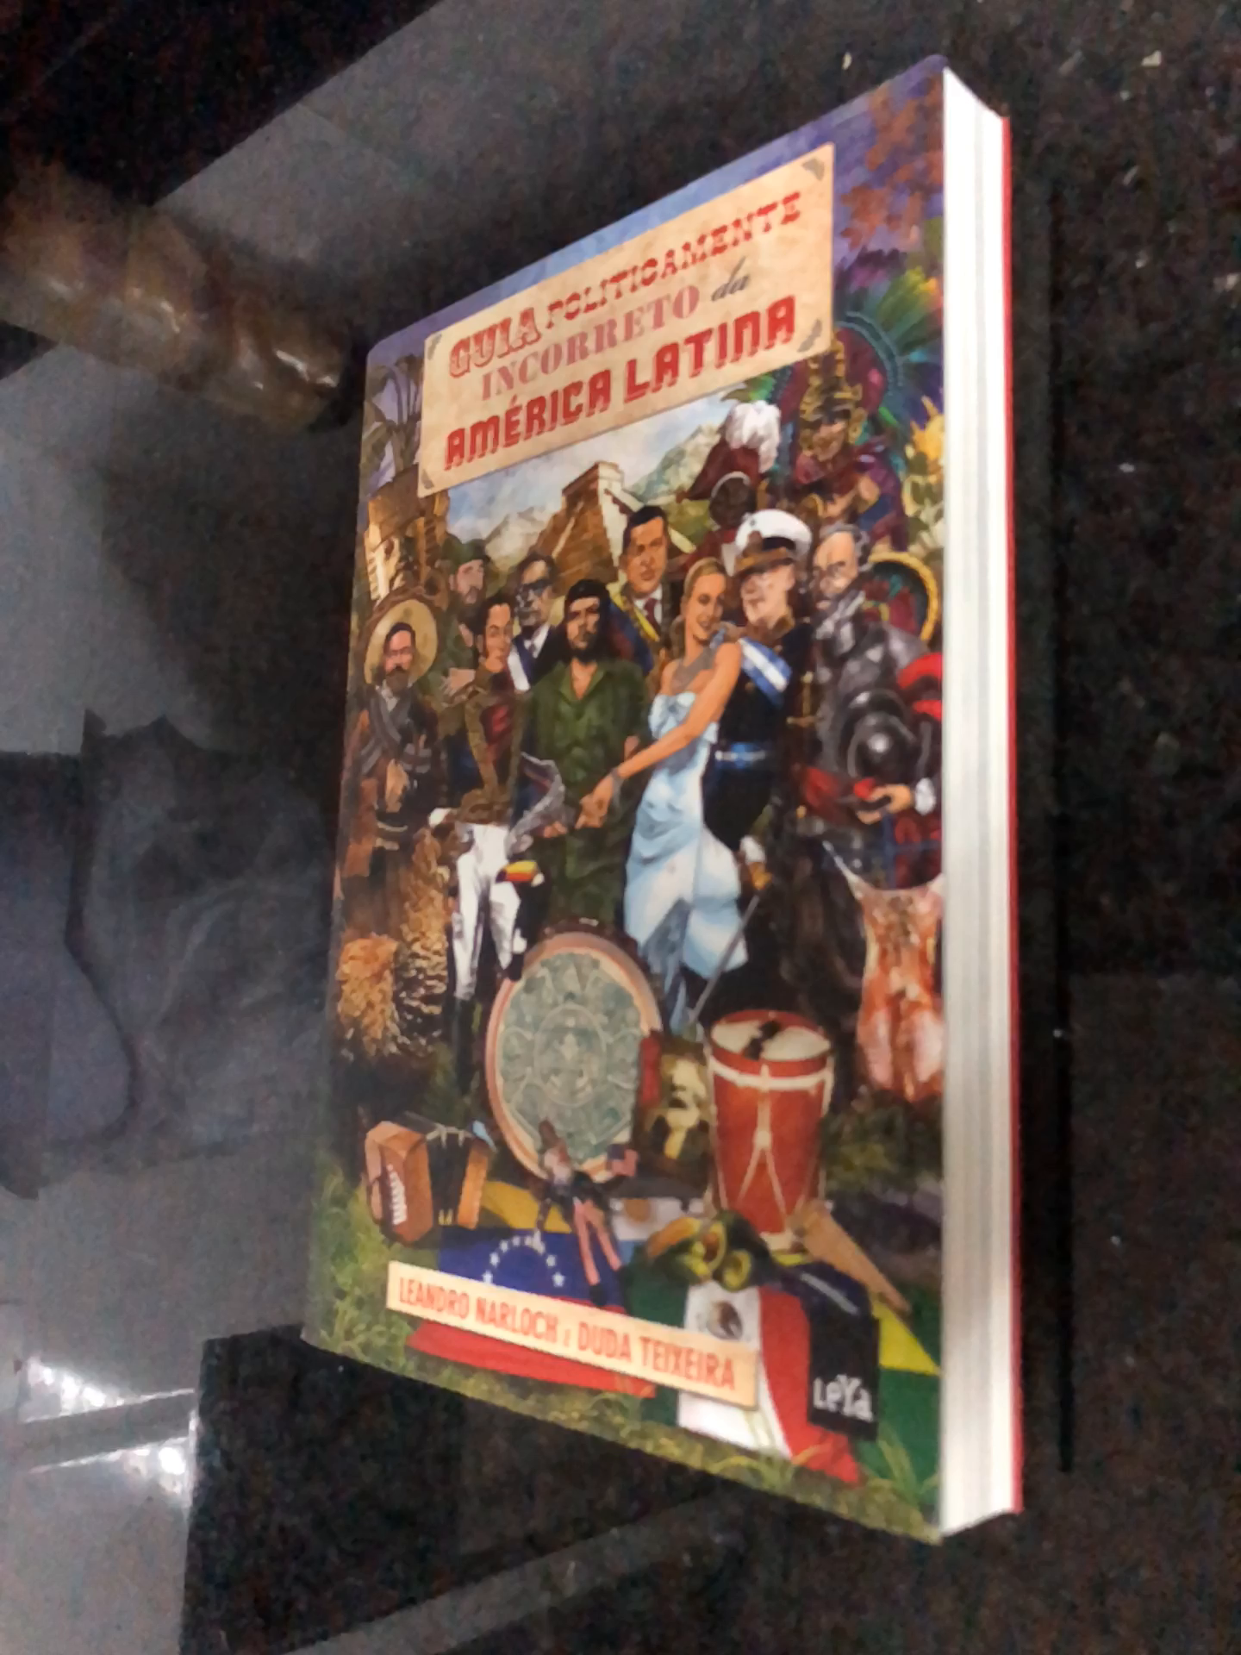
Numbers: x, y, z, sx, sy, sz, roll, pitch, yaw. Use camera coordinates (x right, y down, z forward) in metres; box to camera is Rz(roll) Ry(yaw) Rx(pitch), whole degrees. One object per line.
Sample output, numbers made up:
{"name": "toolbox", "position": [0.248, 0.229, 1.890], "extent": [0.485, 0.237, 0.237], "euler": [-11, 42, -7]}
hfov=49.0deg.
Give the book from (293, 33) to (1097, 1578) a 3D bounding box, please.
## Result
{"name": "book", "position": [0.006, -0.004, 0.257], "extent": [0.151, 0.040, 0.220], "euler": [-6, 78, 43]}
